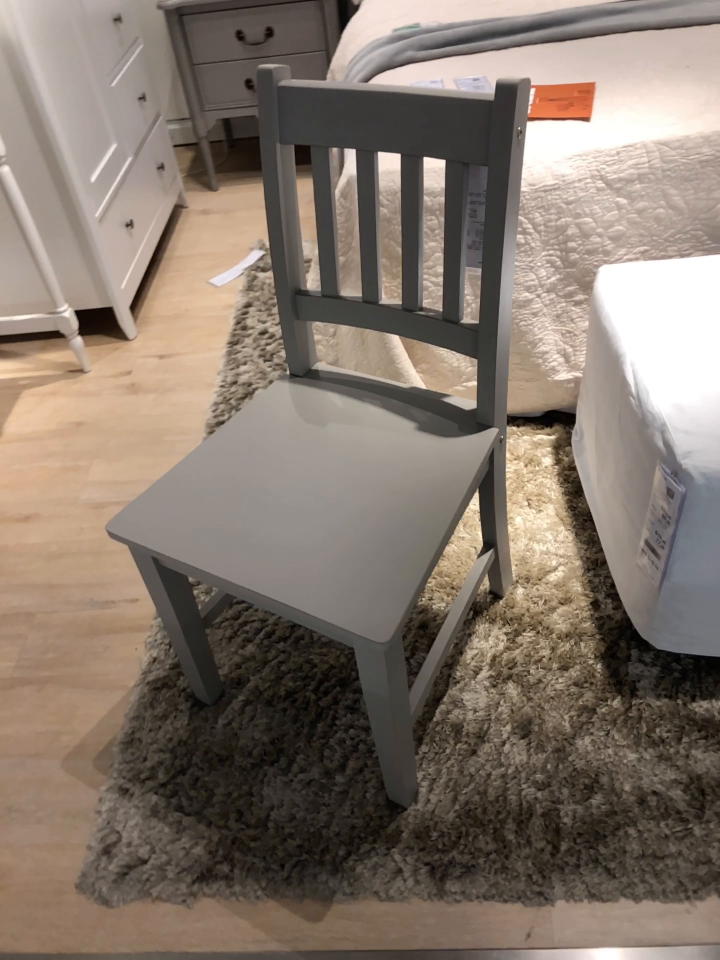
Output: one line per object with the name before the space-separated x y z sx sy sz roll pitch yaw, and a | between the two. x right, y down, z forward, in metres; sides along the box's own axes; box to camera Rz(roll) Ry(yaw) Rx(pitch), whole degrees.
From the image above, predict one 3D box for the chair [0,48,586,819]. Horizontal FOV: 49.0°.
chair | -0.044 -0.057 1.096 0.481 0.824 0.533 17 48 25
